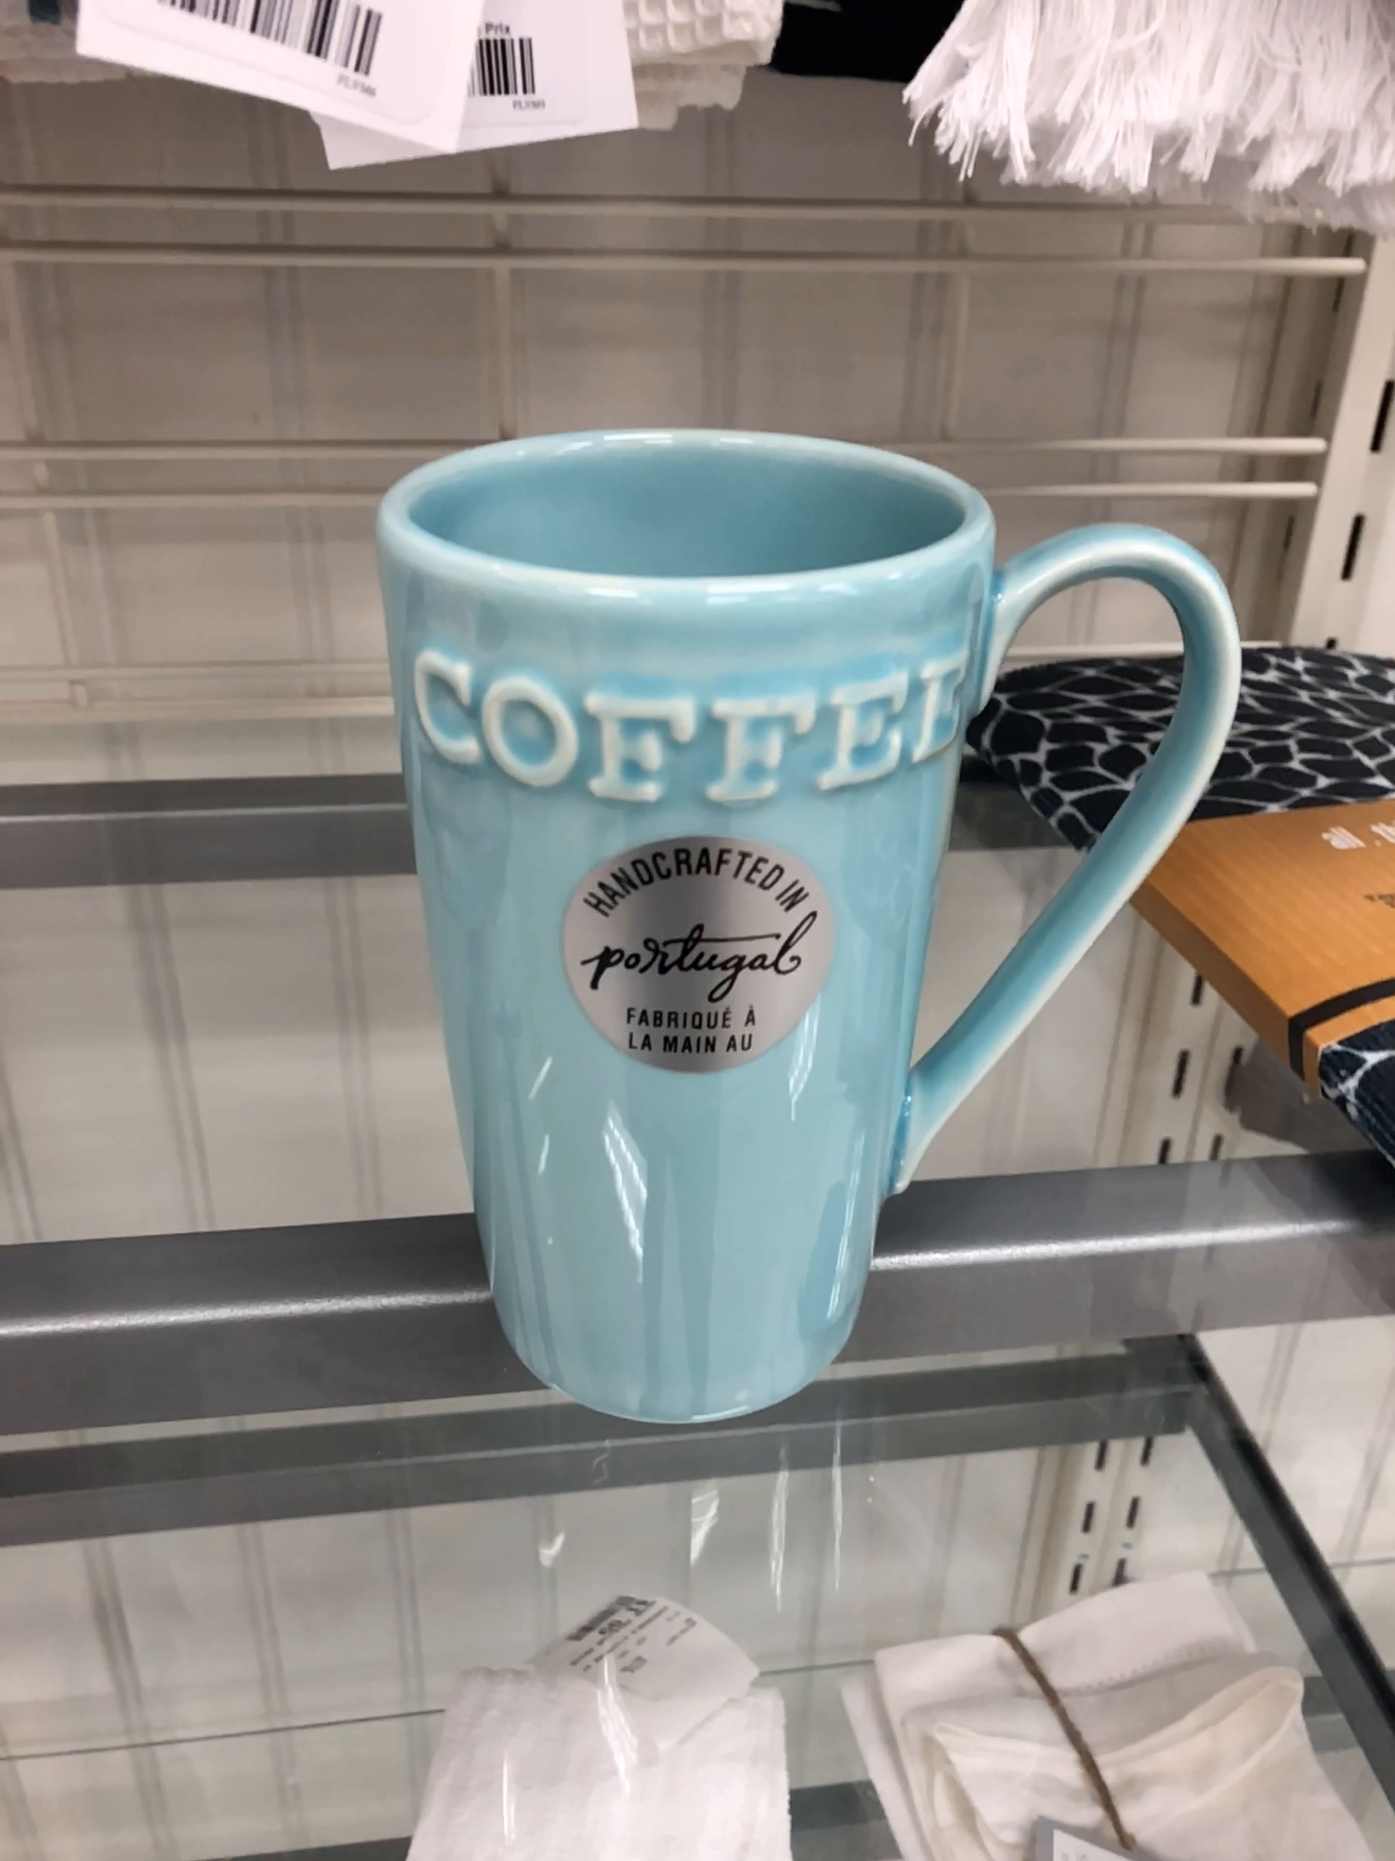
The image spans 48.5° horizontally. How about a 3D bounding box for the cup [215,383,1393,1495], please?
[{"bbox_3d":[0.013,-0.003,0.243,0.130,0.139,0.091,4,28,4],"label":"cup"}]
